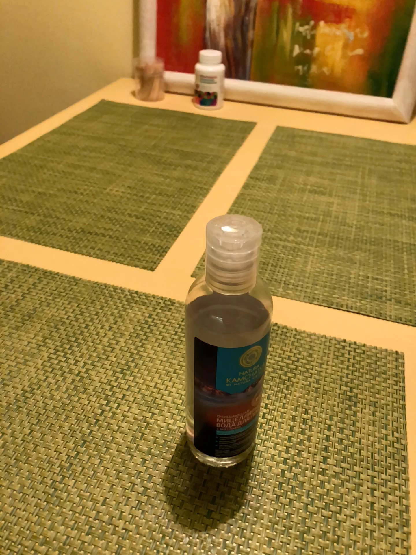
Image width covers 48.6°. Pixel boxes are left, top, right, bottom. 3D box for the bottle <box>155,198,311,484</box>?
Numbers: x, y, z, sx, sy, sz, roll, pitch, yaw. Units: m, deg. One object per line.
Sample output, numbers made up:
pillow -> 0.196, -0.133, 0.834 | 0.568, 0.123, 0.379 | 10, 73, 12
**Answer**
bottle -> 0.006, 0.040, 0.253 | 0.051, 0.149, 0.054 | 2, 37, -2
